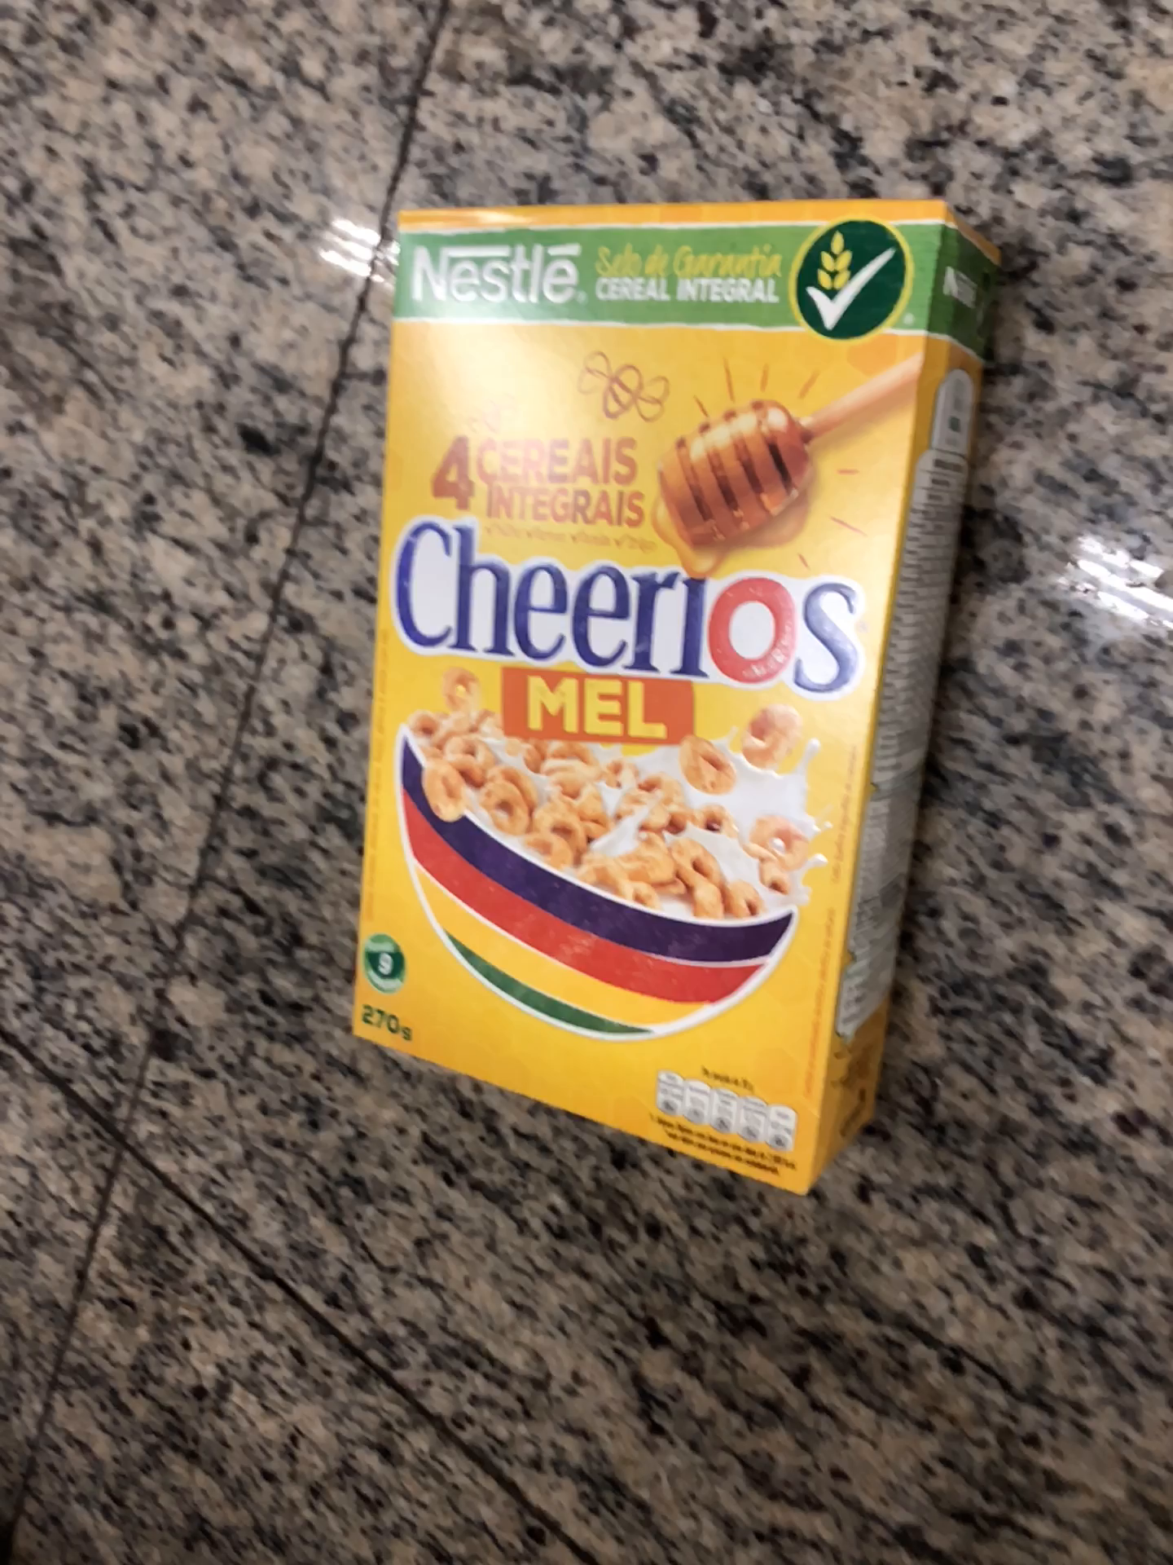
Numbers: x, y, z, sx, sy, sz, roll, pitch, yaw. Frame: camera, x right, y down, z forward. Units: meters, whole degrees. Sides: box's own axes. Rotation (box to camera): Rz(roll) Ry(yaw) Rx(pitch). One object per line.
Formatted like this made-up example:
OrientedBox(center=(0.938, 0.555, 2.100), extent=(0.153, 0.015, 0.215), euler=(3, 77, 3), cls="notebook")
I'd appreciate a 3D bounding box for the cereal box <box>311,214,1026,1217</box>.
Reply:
OrientedBox(center=(0.013, -0.025, 0.373), extent=(0.171, 0.060, 0.240), euler=(11, 103, 27), cls="cereal box")
